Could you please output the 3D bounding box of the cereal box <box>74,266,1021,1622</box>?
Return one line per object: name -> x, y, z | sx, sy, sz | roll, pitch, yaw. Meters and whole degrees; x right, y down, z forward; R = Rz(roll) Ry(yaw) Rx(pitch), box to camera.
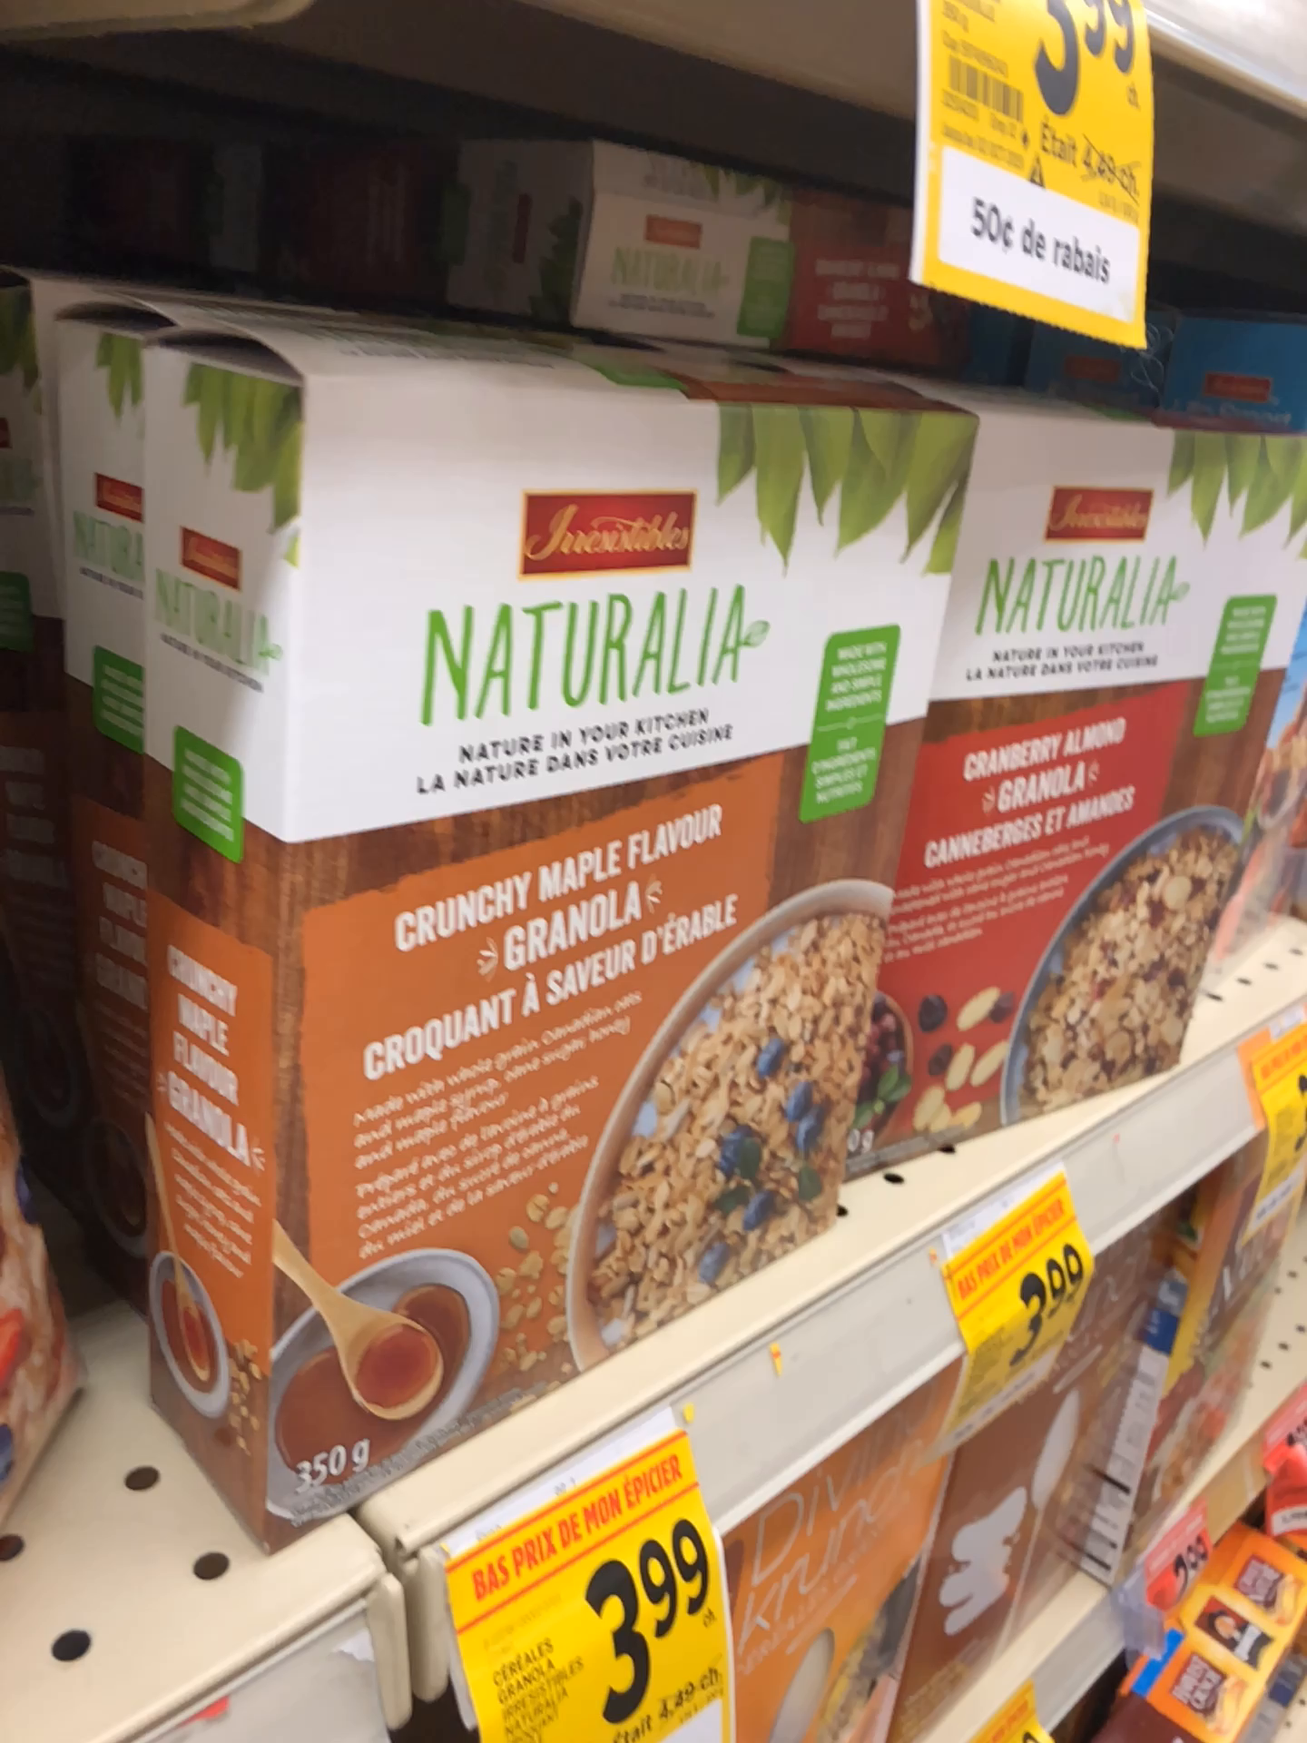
cereal box -> -0.017, 0.006, 0.283 | 0.050, 0.209, 0.171 | 26, 27, 38
